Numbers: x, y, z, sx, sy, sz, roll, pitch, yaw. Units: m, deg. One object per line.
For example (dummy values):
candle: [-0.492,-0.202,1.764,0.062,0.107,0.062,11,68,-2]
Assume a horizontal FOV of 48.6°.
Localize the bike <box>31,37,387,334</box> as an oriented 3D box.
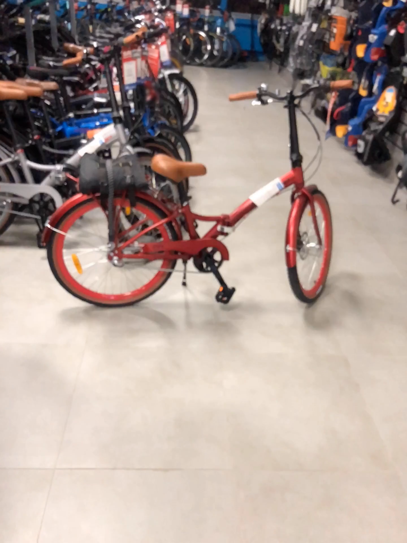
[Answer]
bike: [-0.007,-0.483,2.228,1.495,1.111,0.519,-11,35,-20]
